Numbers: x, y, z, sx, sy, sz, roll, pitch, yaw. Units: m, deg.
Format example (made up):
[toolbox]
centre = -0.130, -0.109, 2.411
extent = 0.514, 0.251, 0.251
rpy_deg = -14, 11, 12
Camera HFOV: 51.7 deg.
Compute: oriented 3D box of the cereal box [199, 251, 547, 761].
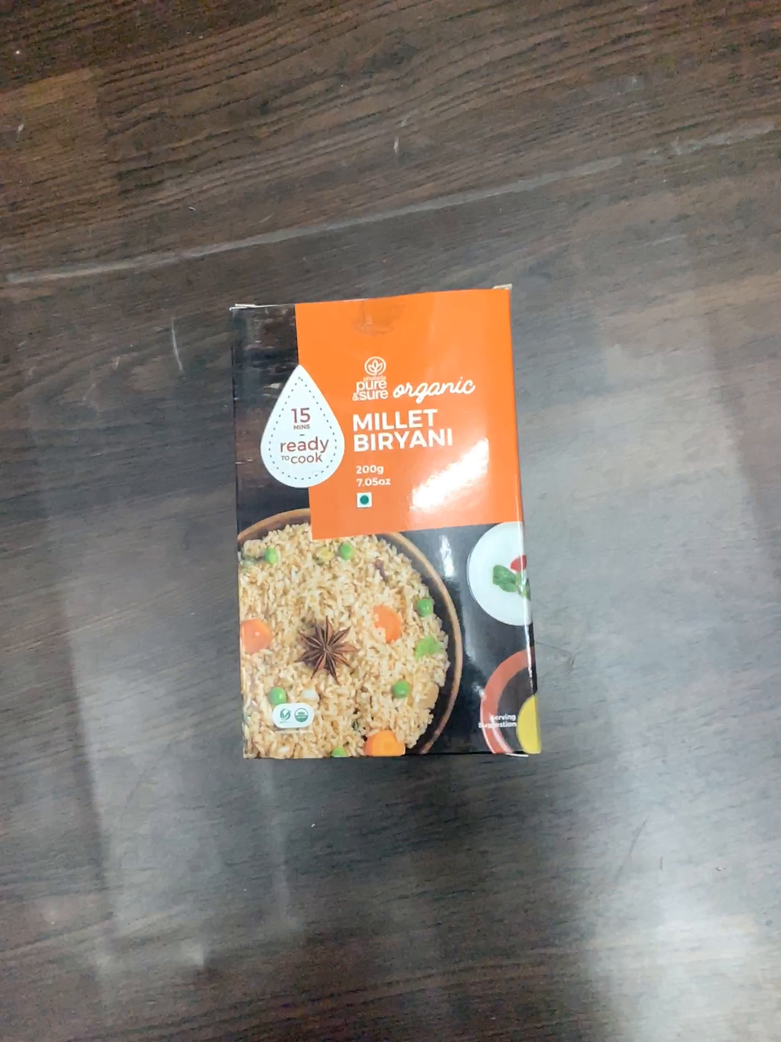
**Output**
[cereal box]
centre = -0.007, -0.004, 0.304
extent = 0.110, 0.050, 0.170
rpy_deg = -4, 85, 3
